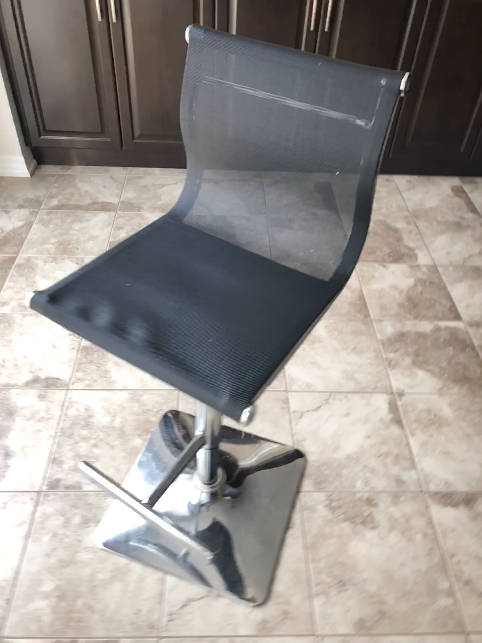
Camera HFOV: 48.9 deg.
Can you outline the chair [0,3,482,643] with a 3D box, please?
[{"bbox_3d":[-0.055,0.055,0.987,0.541,0.976,0.551,25,46,22],"label":"chair"}]
